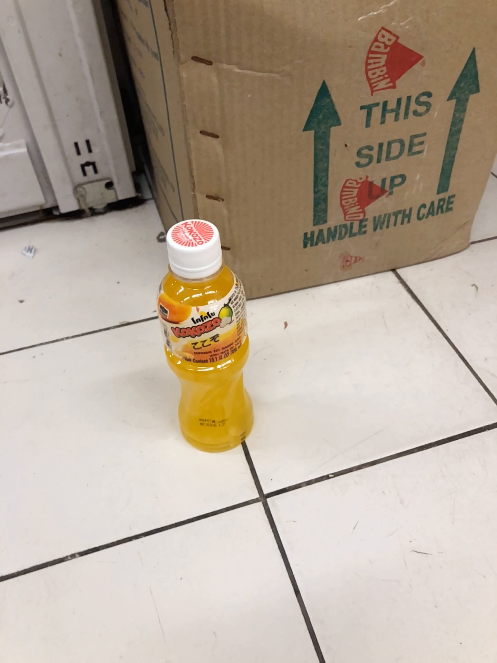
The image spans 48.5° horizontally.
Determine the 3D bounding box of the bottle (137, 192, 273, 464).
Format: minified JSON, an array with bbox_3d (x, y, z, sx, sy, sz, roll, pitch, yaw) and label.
[{"bbox_3d":[-0.023,0.007,0.370,0.070,0.179,0.070,-1,45,1],"label":"bottle"}]
